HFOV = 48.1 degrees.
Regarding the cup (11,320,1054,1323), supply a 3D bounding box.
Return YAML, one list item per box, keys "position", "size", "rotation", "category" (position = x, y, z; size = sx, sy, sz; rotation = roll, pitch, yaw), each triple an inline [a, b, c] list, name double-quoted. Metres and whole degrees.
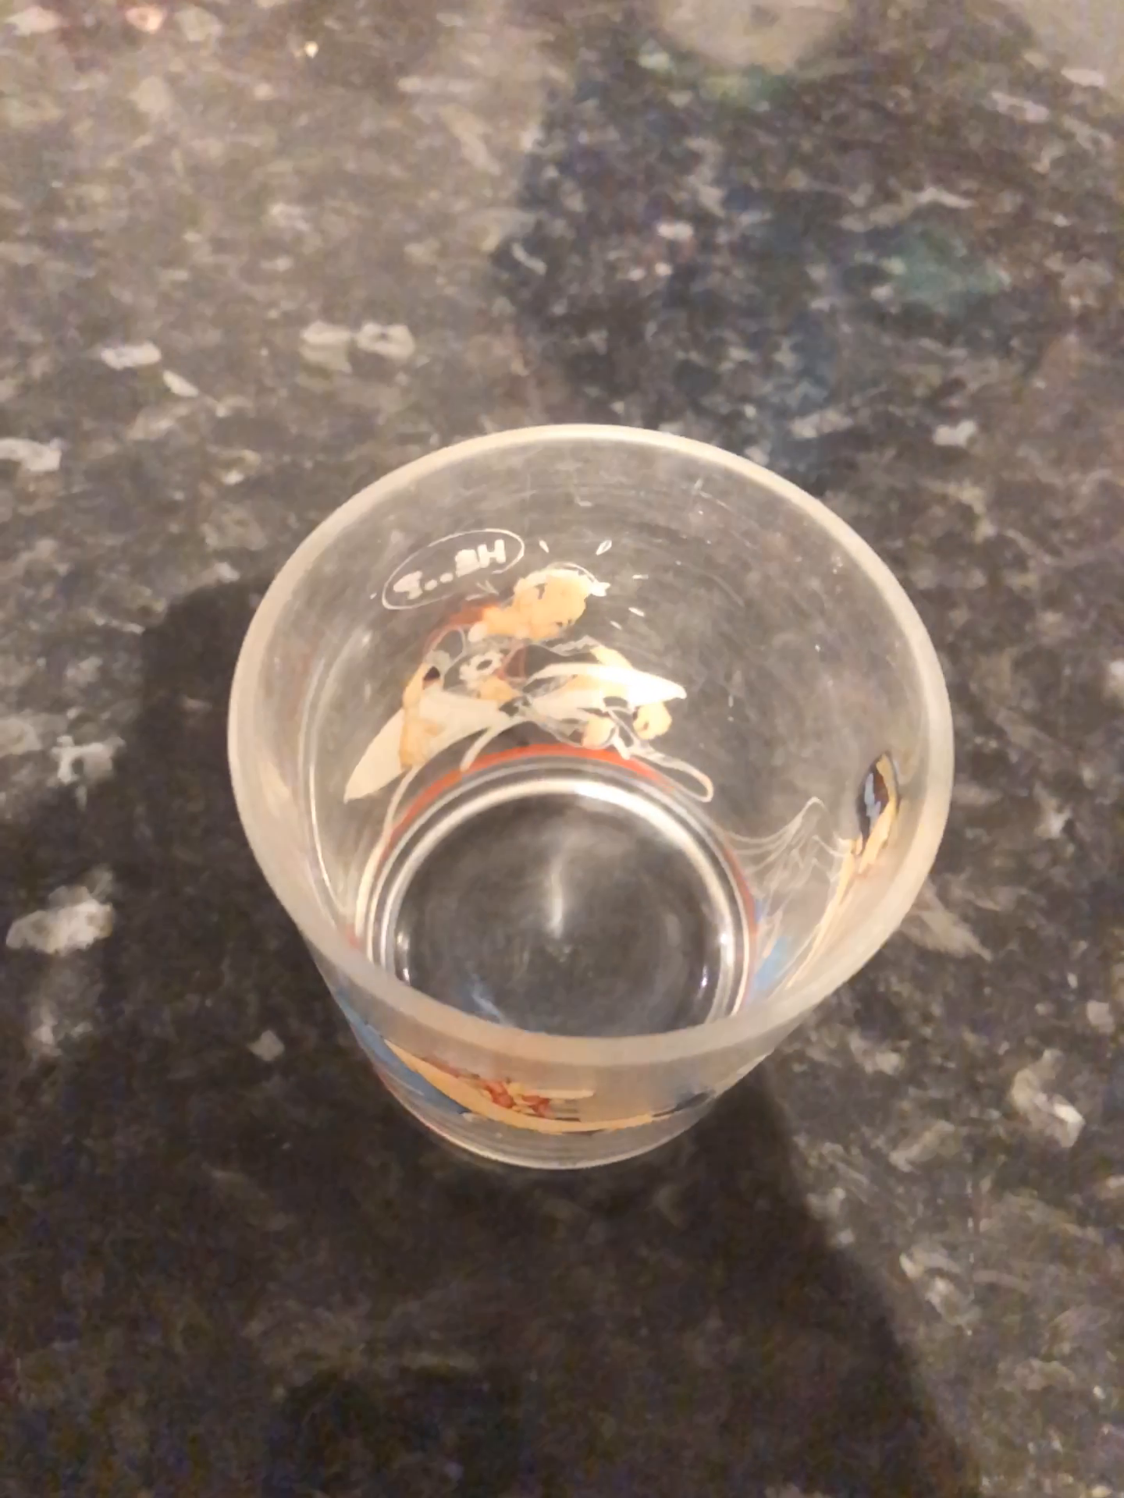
- position: [0.001, 0.014, 0.157]
  size: [0.080, 0.080, 0.080]
  rotation: [1, 63, -3]
  category: "cup"
